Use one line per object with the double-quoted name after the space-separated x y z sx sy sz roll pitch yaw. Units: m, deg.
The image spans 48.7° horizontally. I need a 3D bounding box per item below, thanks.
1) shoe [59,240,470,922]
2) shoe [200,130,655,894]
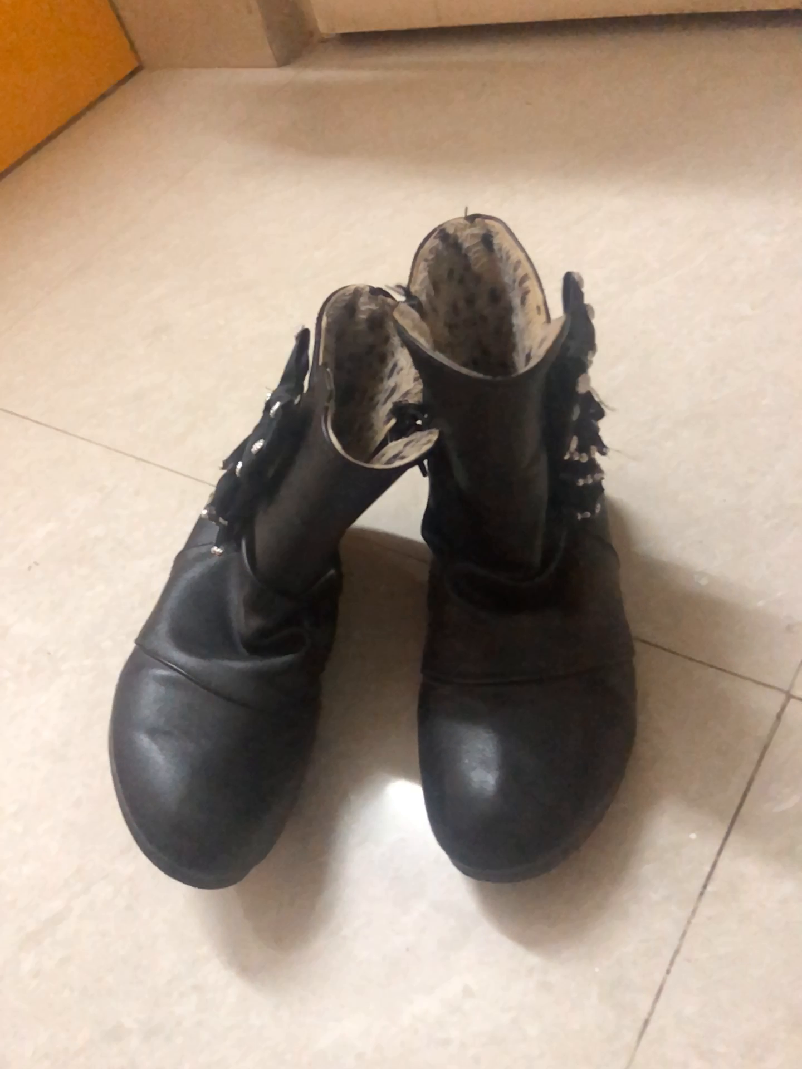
-0.048 0.017 0.337 0.090 0.139 0.201 17 51 -10 "shoe"
0.025 -0.011 0.311 0.090 0.139 0.221 -7 49 16 "shoe"
